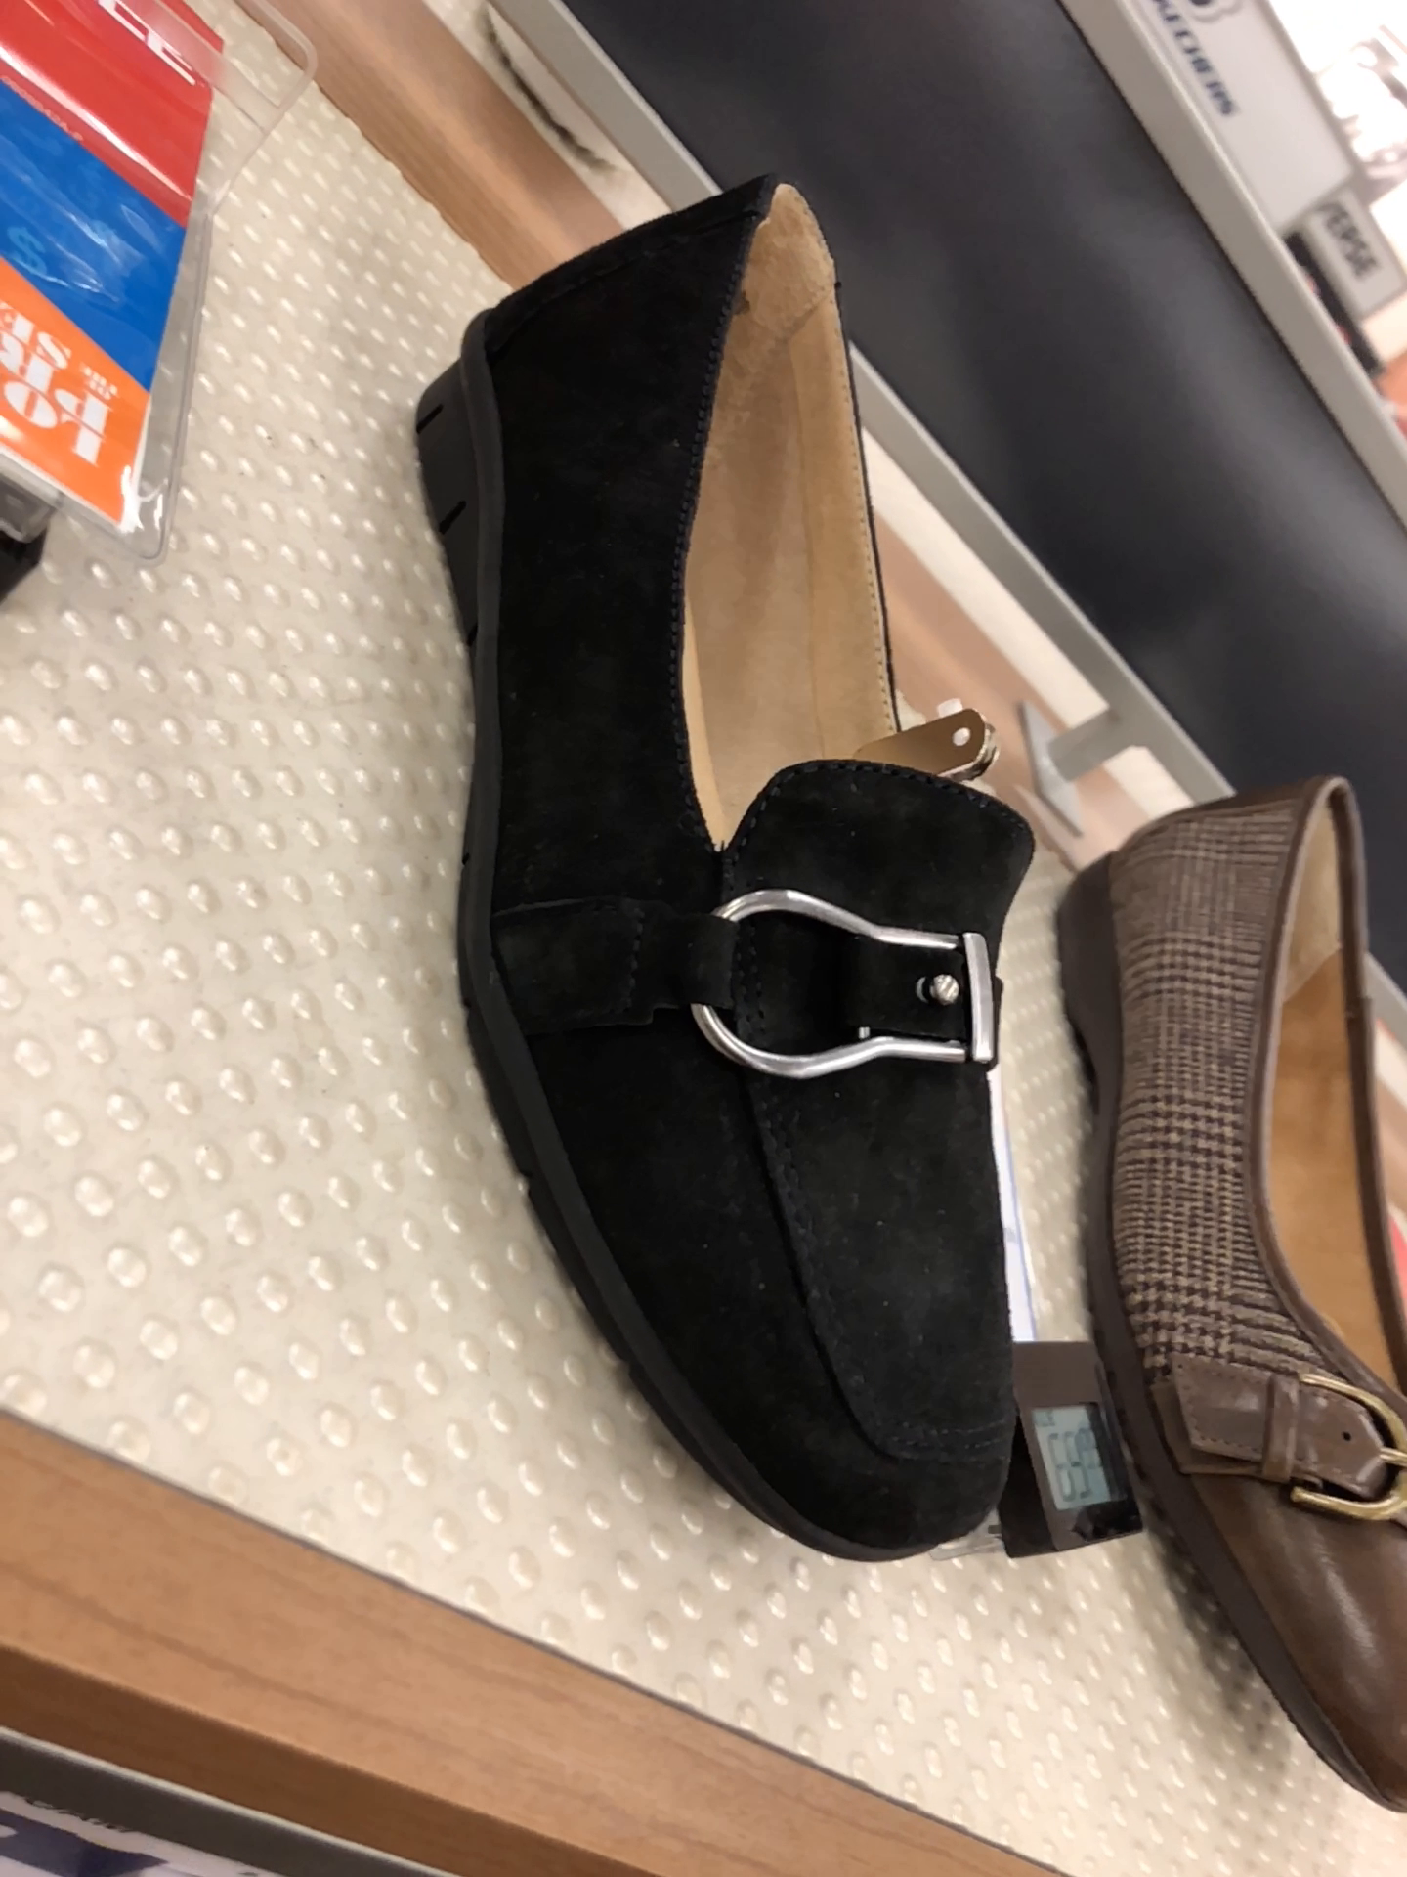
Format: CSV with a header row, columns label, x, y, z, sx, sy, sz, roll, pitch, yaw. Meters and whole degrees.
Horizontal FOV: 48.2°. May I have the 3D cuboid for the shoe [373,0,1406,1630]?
label,x,y,z,sx,sy,sz,roll,pitch,yaw
shoe,0.019,-0.028,0.255,0.080,0.079,0.238,21,45,-48
